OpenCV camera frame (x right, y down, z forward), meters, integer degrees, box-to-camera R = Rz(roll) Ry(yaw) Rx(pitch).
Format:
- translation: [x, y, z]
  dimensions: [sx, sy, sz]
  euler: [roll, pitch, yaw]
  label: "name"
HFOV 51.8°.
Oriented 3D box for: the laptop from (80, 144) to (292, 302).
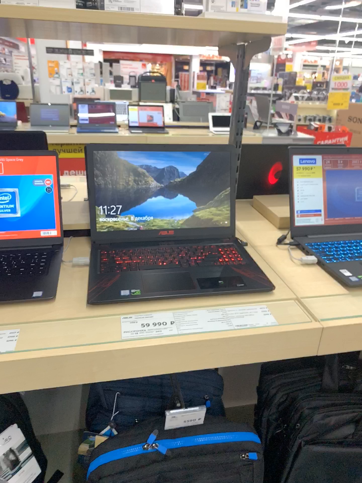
- translation: [-0.017, -0.068, 0.814]
  dimensions: [0.366, 0.229, 0.318]
  euler: [-2, 24, -11]
  label: "laptop"
